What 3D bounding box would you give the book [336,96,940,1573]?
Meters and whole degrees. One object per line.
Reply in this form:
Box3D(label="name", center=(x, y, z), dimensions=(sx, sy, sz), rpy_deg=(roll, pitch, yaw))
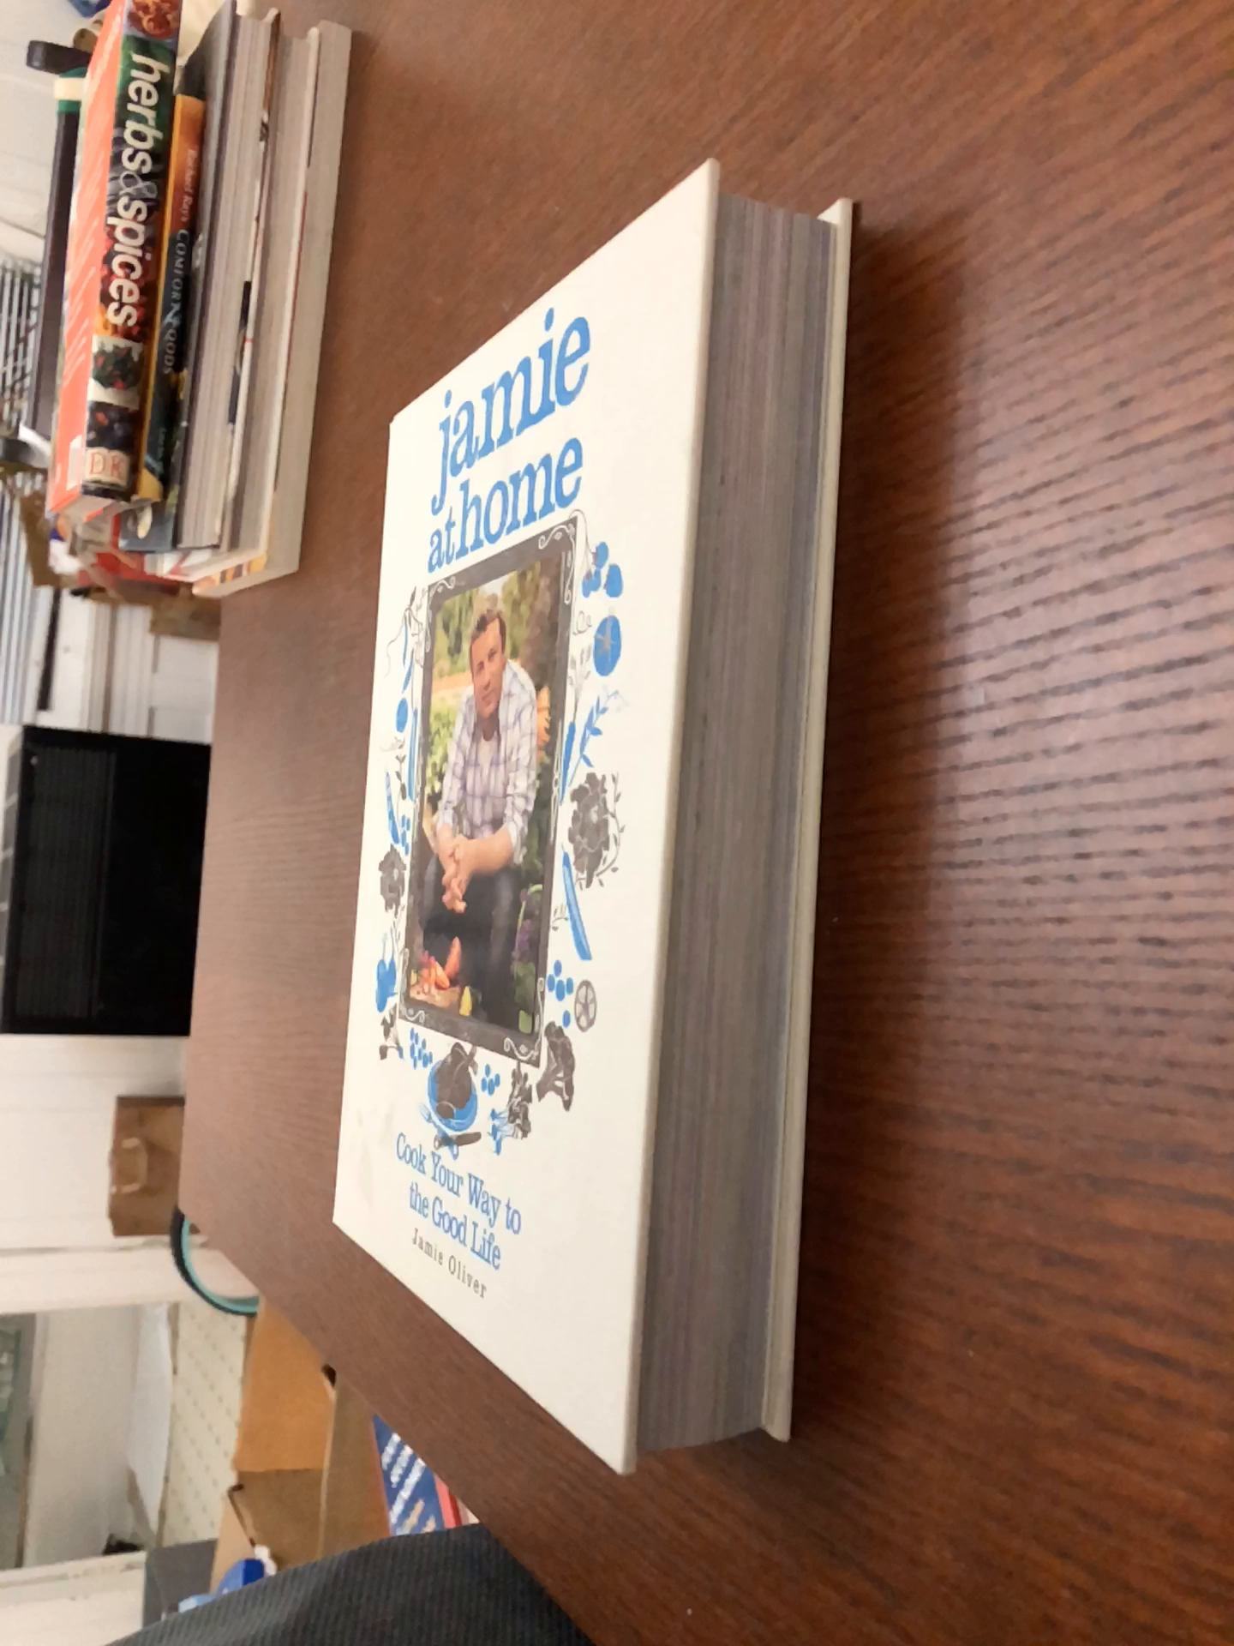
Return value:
Box3D(label="book", center=(-0.013, 0.001, 0.342), dimensions=(0.211, 0.040, 0.260), rpy_deg=(0, 85, 64))
